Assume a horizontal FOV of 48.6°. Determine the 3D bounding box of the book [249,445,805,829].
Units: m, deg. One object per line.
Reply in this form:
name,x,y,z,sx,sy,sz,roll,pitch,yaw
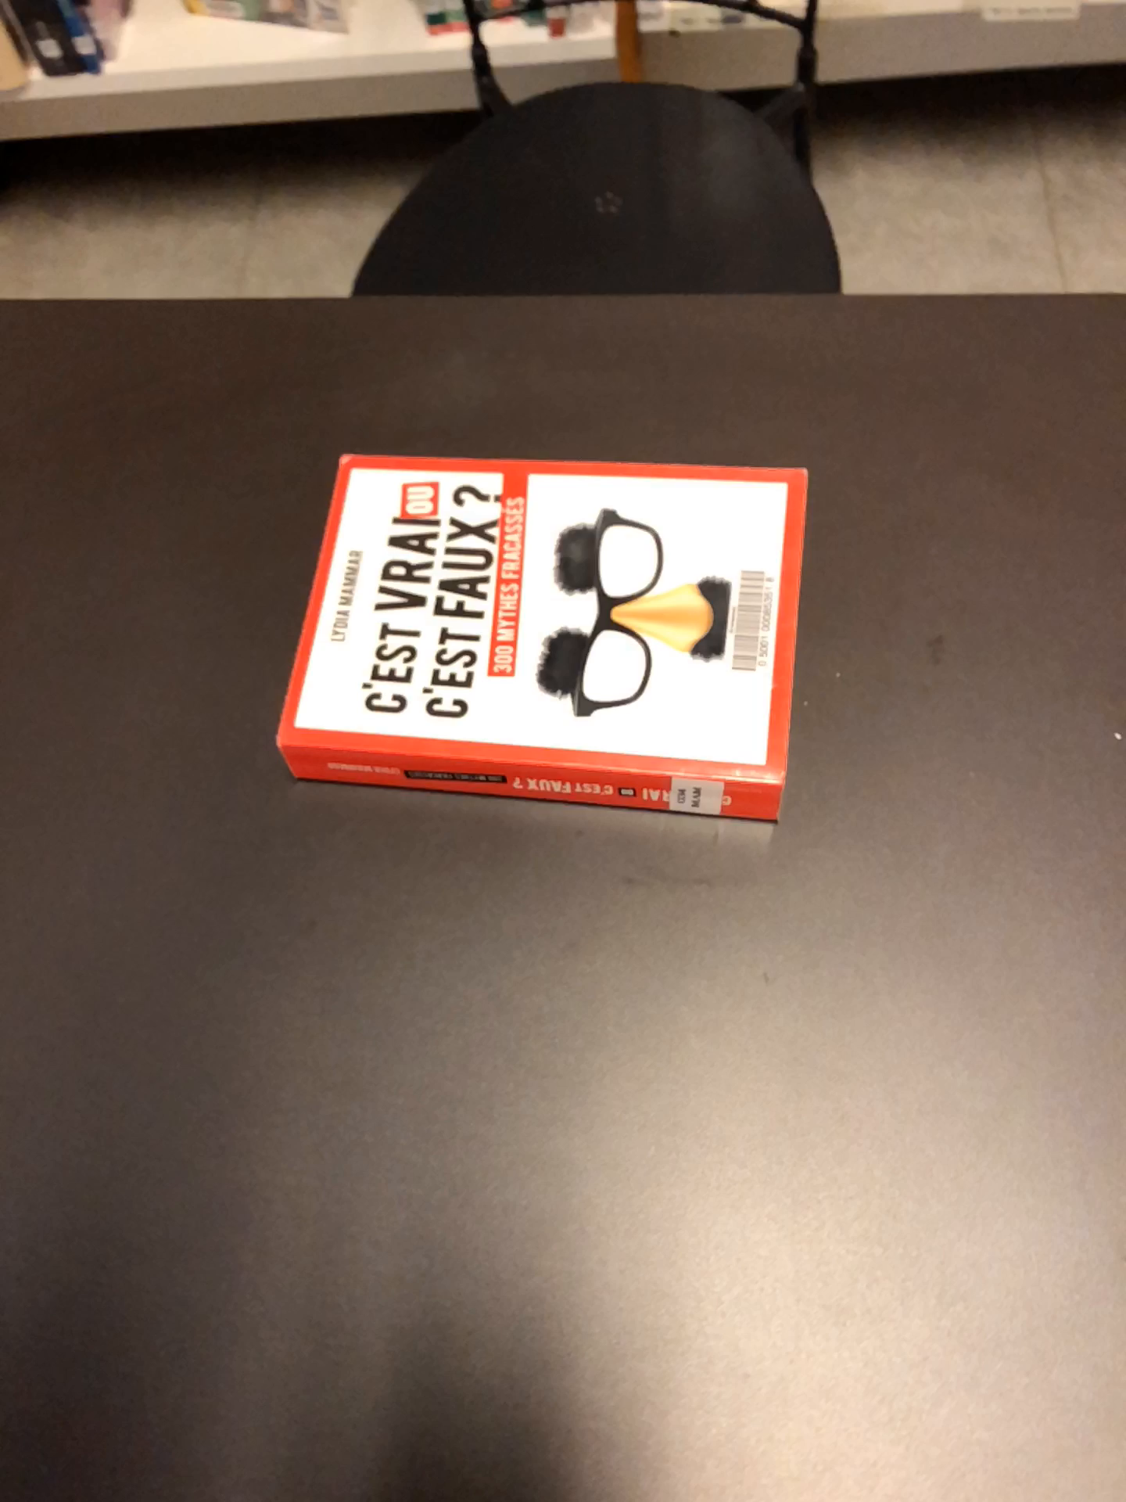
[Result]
book,-0.009,-0.045,0.462,0.184,0.034,0.127,5,68,7
